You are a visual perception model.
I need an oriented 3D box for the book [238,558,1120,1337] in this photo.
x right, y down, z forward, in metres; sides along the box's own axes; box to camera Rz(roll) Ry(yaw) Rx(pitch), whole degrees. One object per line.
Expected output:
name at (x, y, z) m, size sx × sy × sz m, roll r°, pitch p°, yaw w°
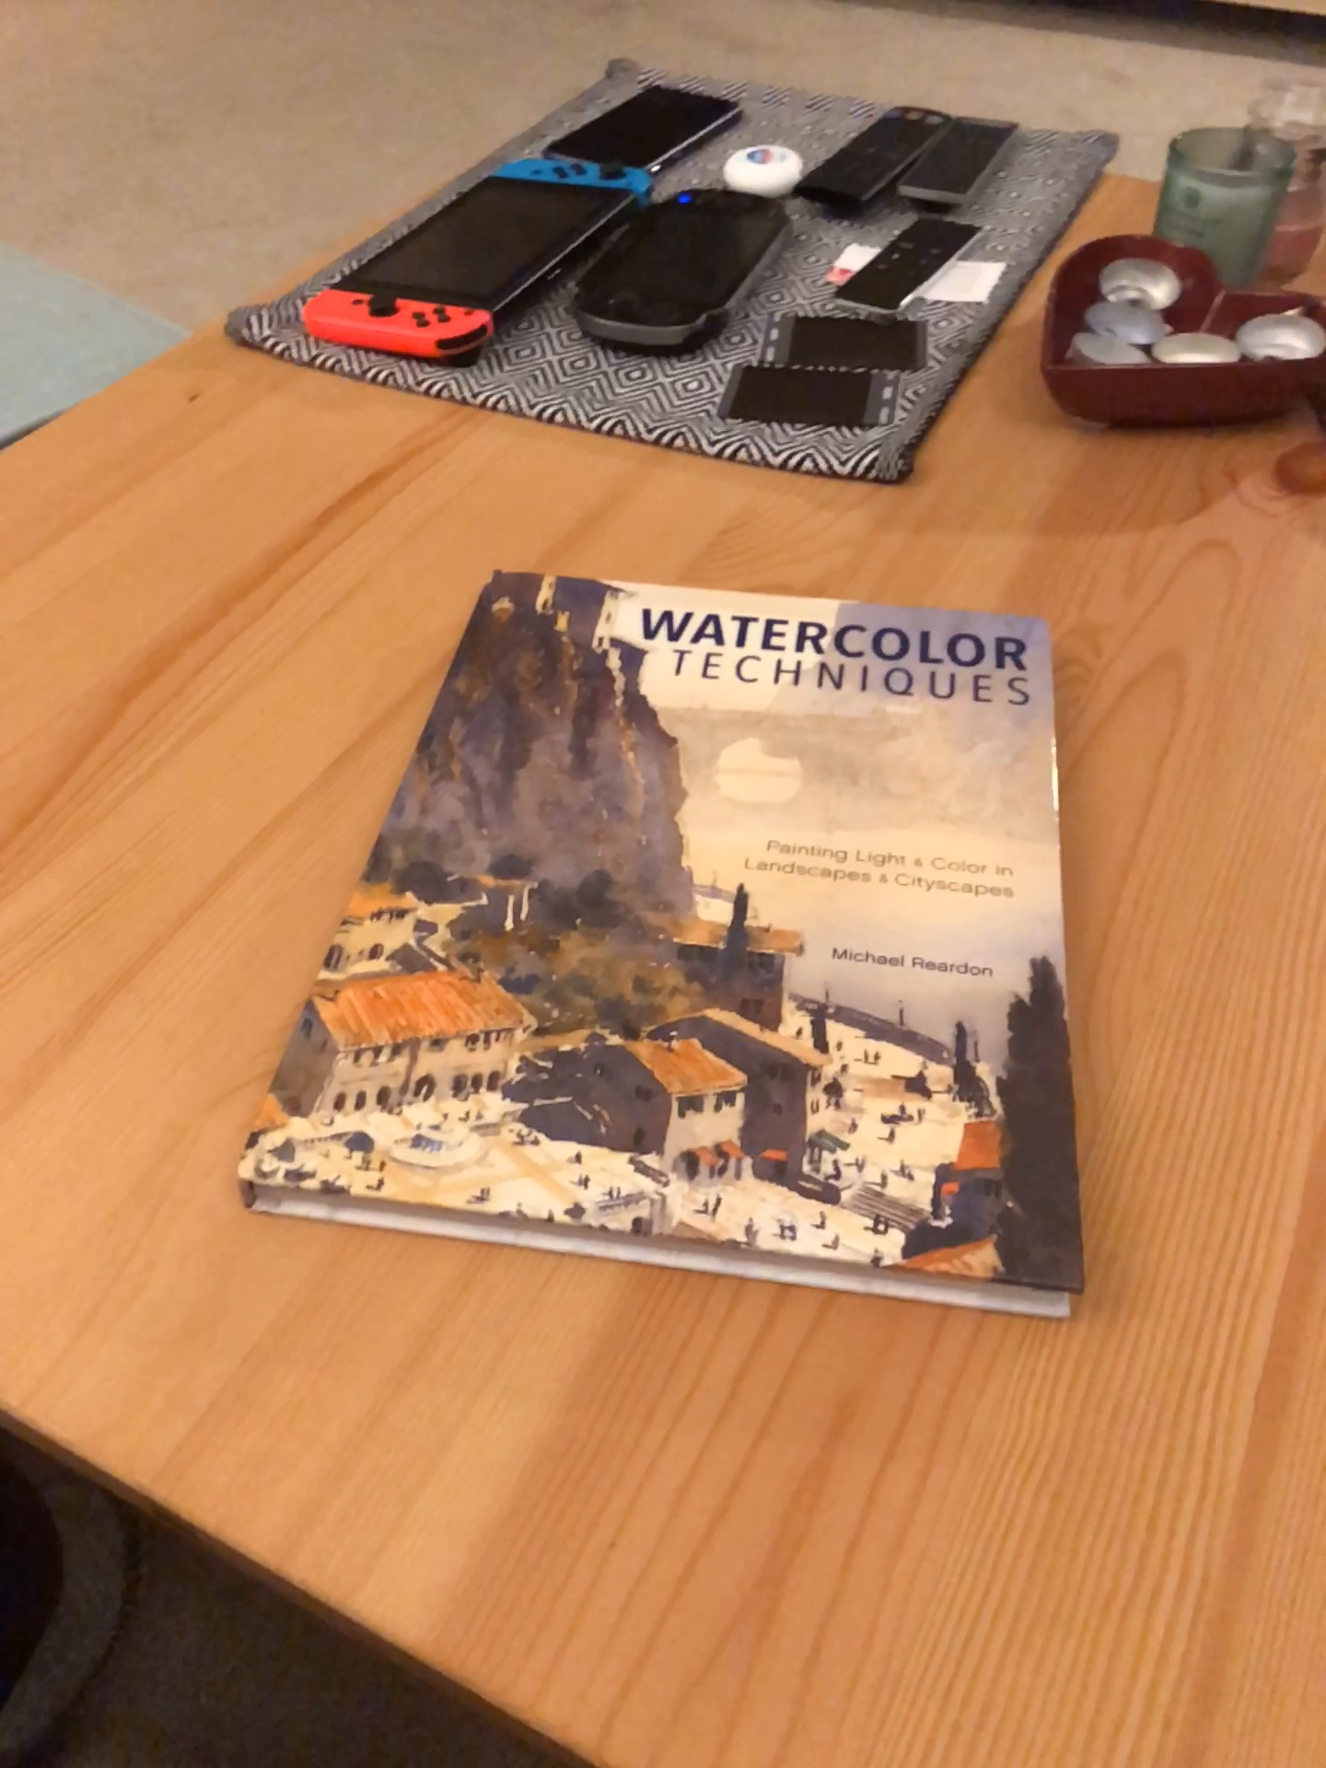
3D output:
book at (0.021, -0.007, 0.454) m, size 0.213 × 0.020 × 0.280 m, roll 6°, pitch 46°, yaw 6°
